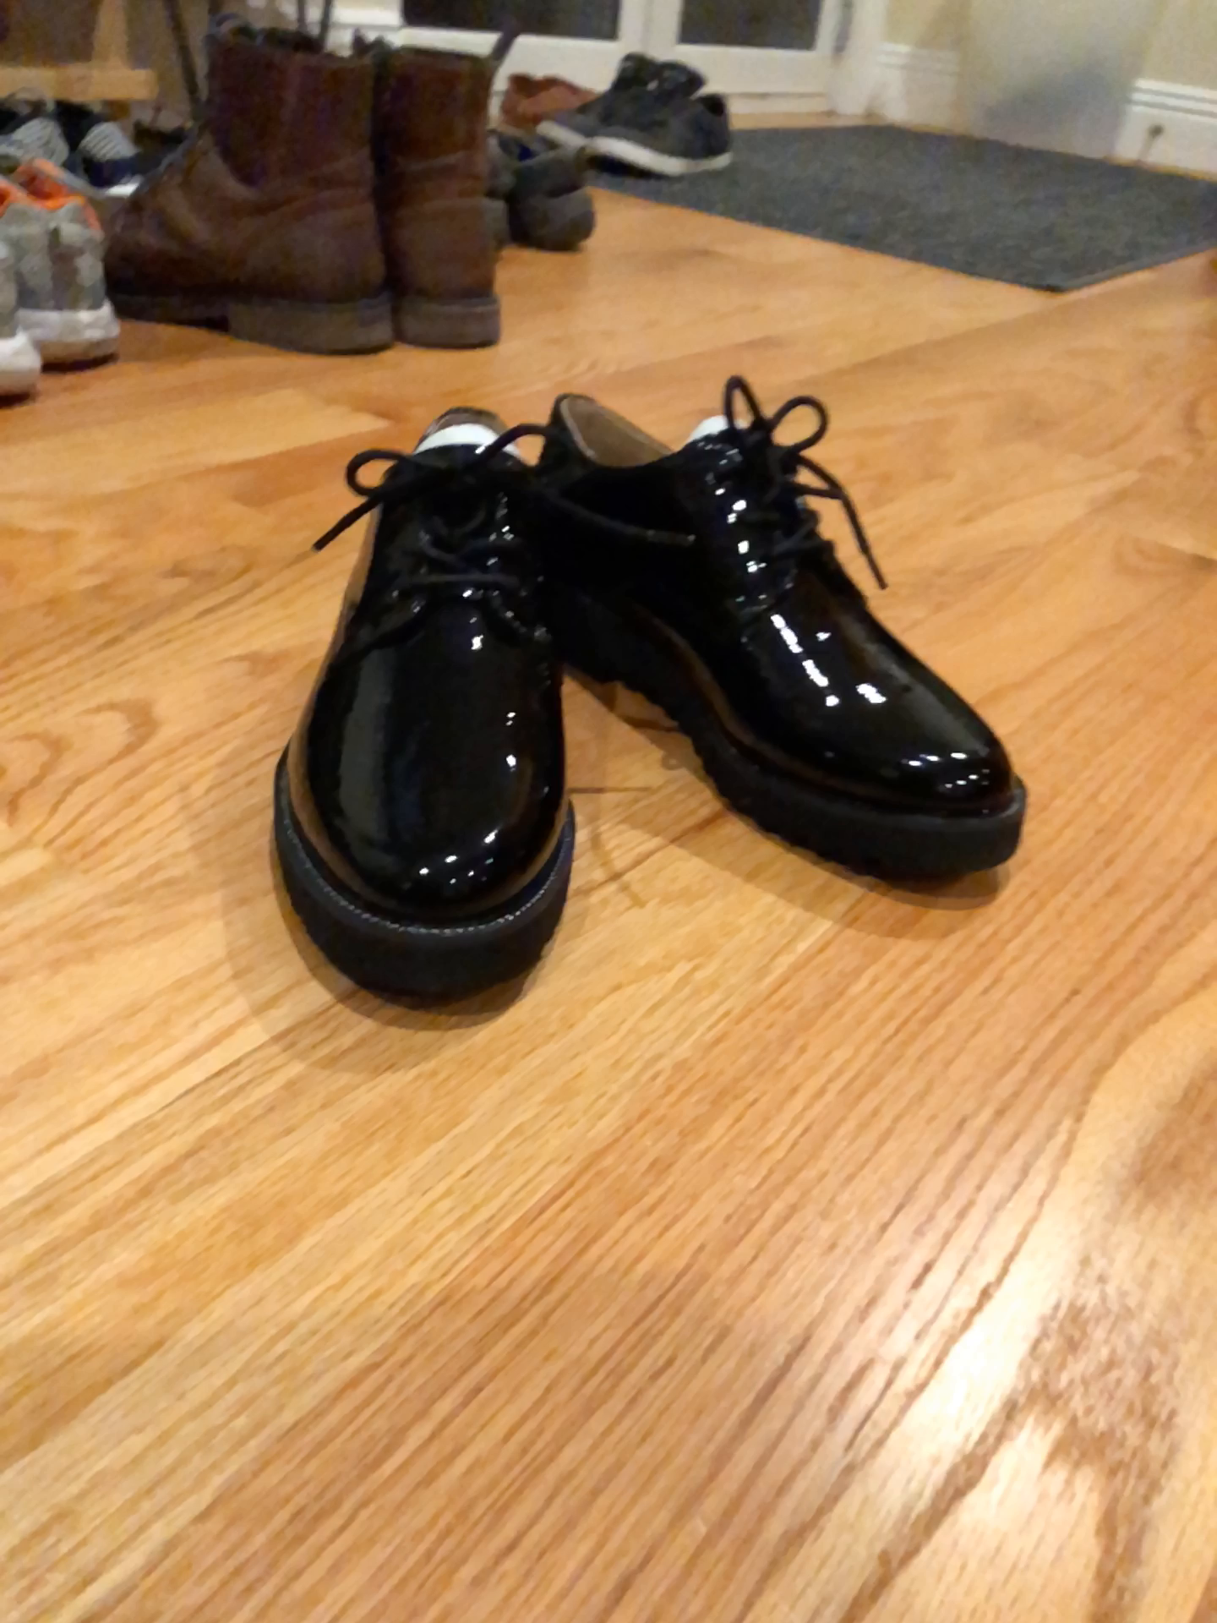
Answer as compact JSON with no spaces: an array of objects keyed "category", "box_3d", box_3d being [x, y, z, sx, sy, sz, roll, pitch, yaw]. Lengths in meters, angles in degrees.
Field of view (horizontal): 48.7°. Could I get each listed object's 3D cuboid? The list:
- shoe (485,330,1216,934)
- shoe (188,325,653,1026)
[{"category":"shoe","box_3d":[0.061,-0.081,0.467,0.095,0.101,0.252,-14,38,-30]},{"category":"shoe","box_3d":[-0.045,-0.061,0.410,0.095,0.101,0.252,5,32,-4]}]
